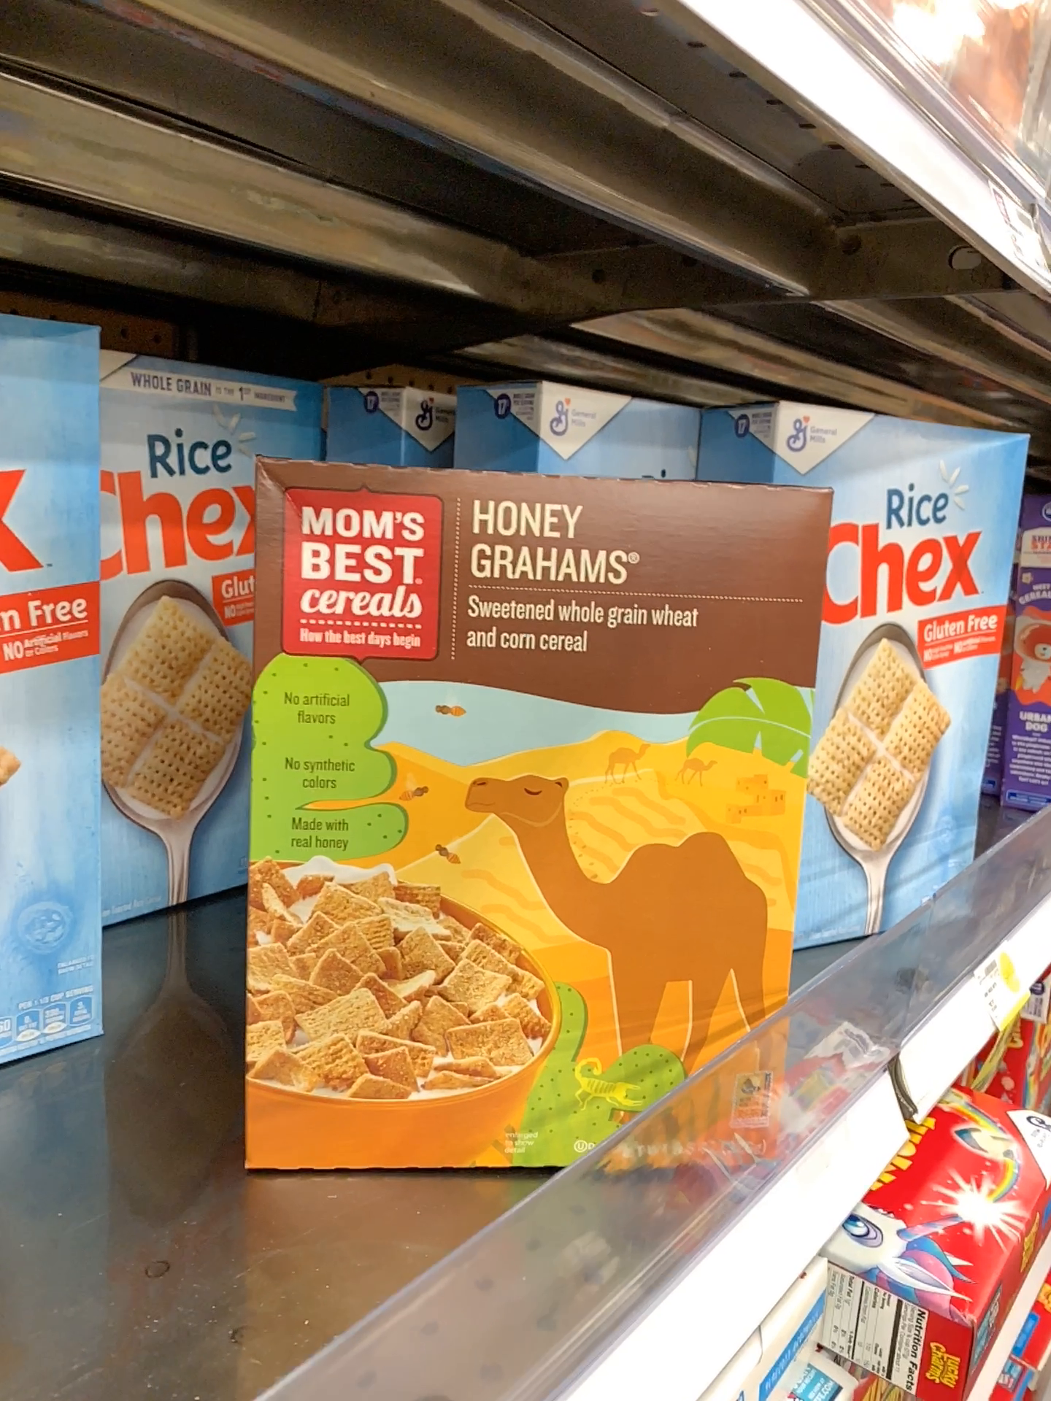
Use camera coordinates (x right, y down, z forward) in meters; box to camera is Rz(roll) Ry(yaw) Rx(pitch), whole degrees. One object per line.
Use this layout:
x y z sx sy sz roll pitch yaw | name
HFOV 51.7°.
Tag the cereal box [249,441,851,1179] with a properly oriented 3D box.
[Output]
0.004 0.043 0.405 0.200 0.259 0.050 2 9 -5 | cereal box
